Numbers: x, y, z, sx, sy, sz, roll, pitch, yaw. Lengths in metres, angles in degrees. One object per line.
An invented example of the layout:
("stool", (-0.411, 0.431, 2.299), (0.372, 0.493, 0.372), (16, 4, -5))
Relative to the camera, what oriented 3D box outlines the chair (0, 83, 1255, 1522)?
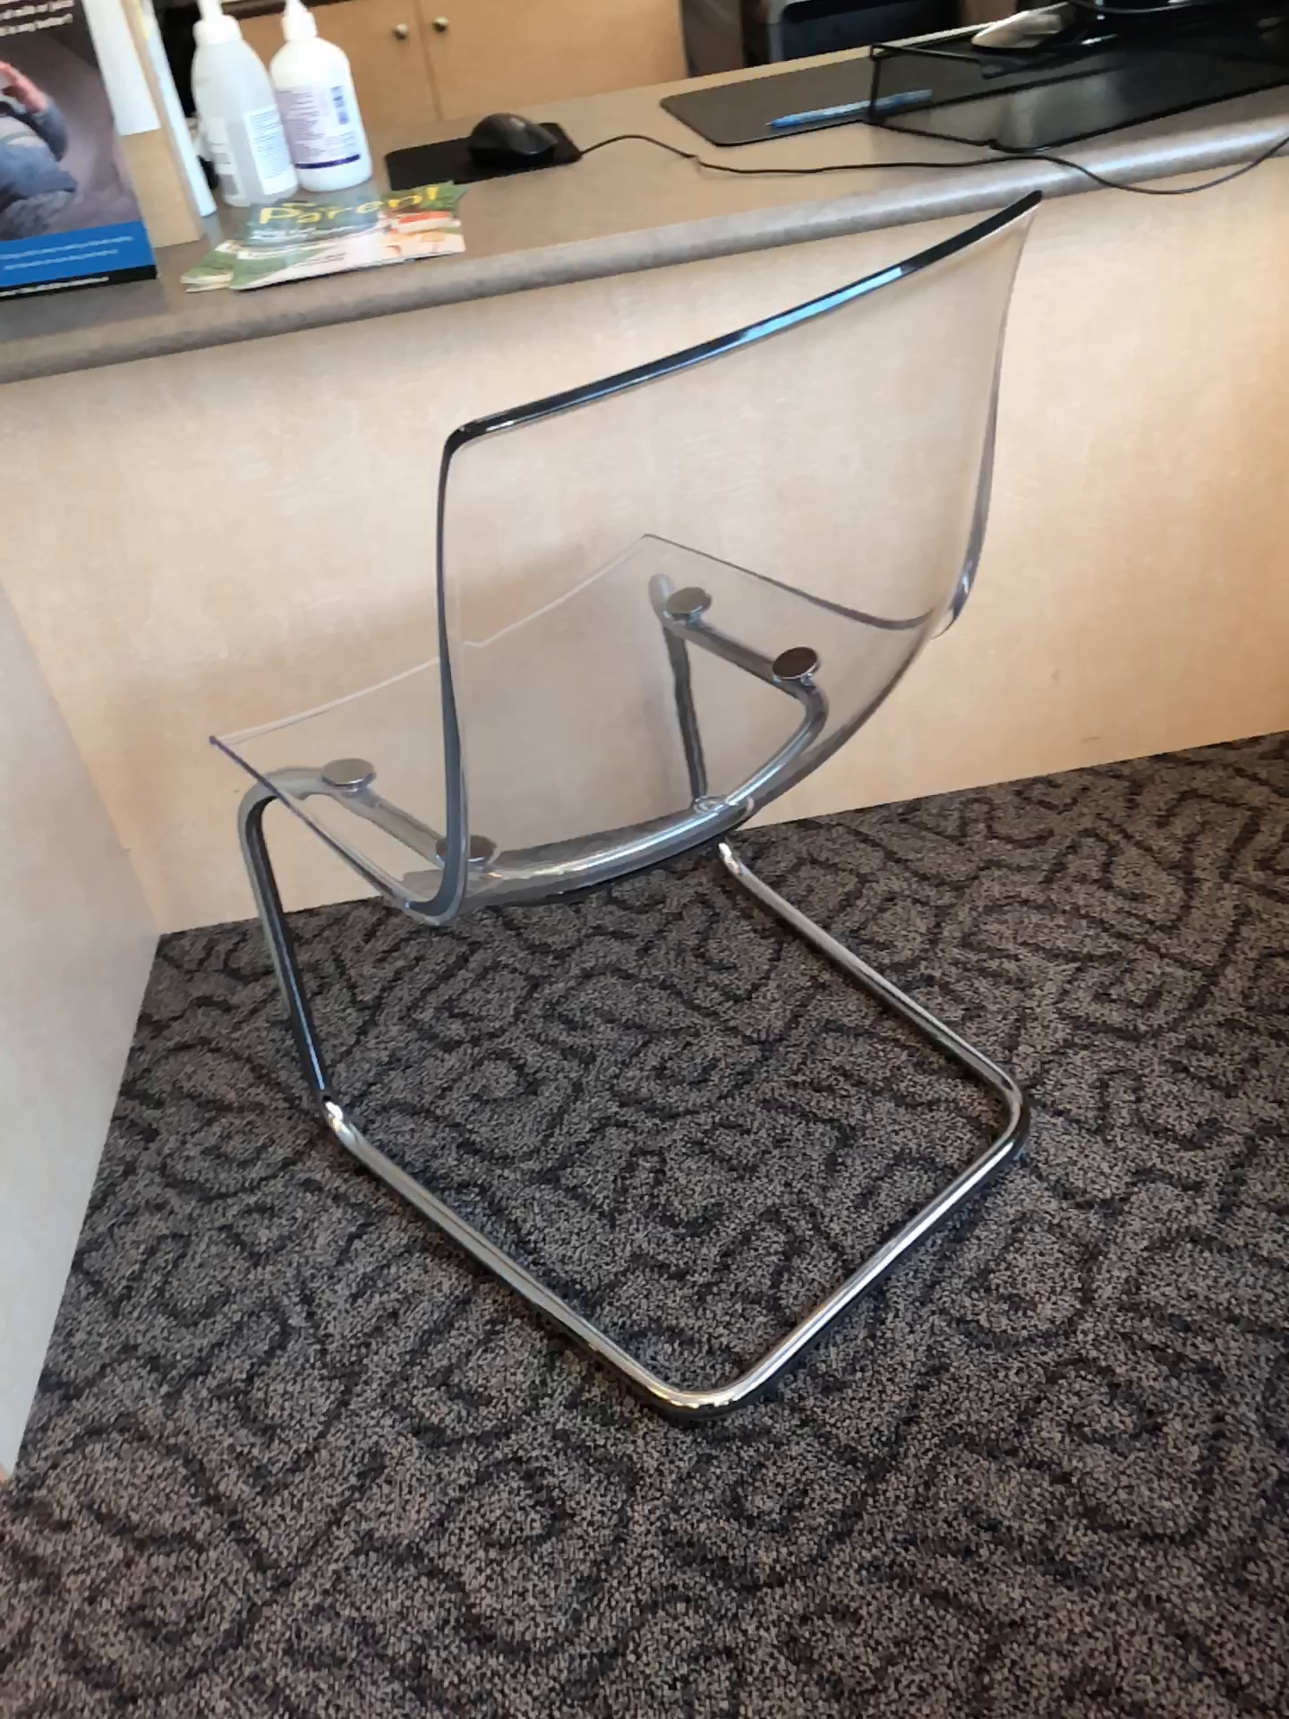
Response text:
("chair", (-0.021, -0.104, 1.137), (0.601, 0.804, 0.643), (-32, 42, -27))
